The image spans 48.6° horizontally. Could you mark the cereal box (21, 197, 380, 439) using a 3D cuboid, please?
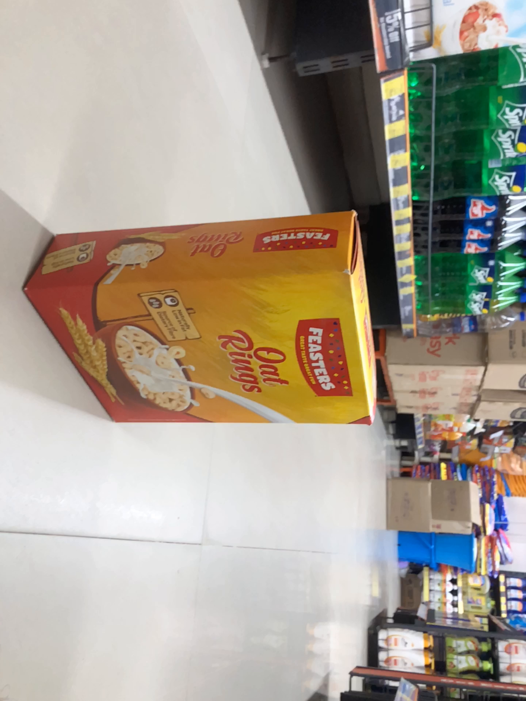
[{"bbox_3d":[-0.029,-0.011,0.439,0.170,0.219,0.070,73,20,-45],"label":"cereal box"}]
